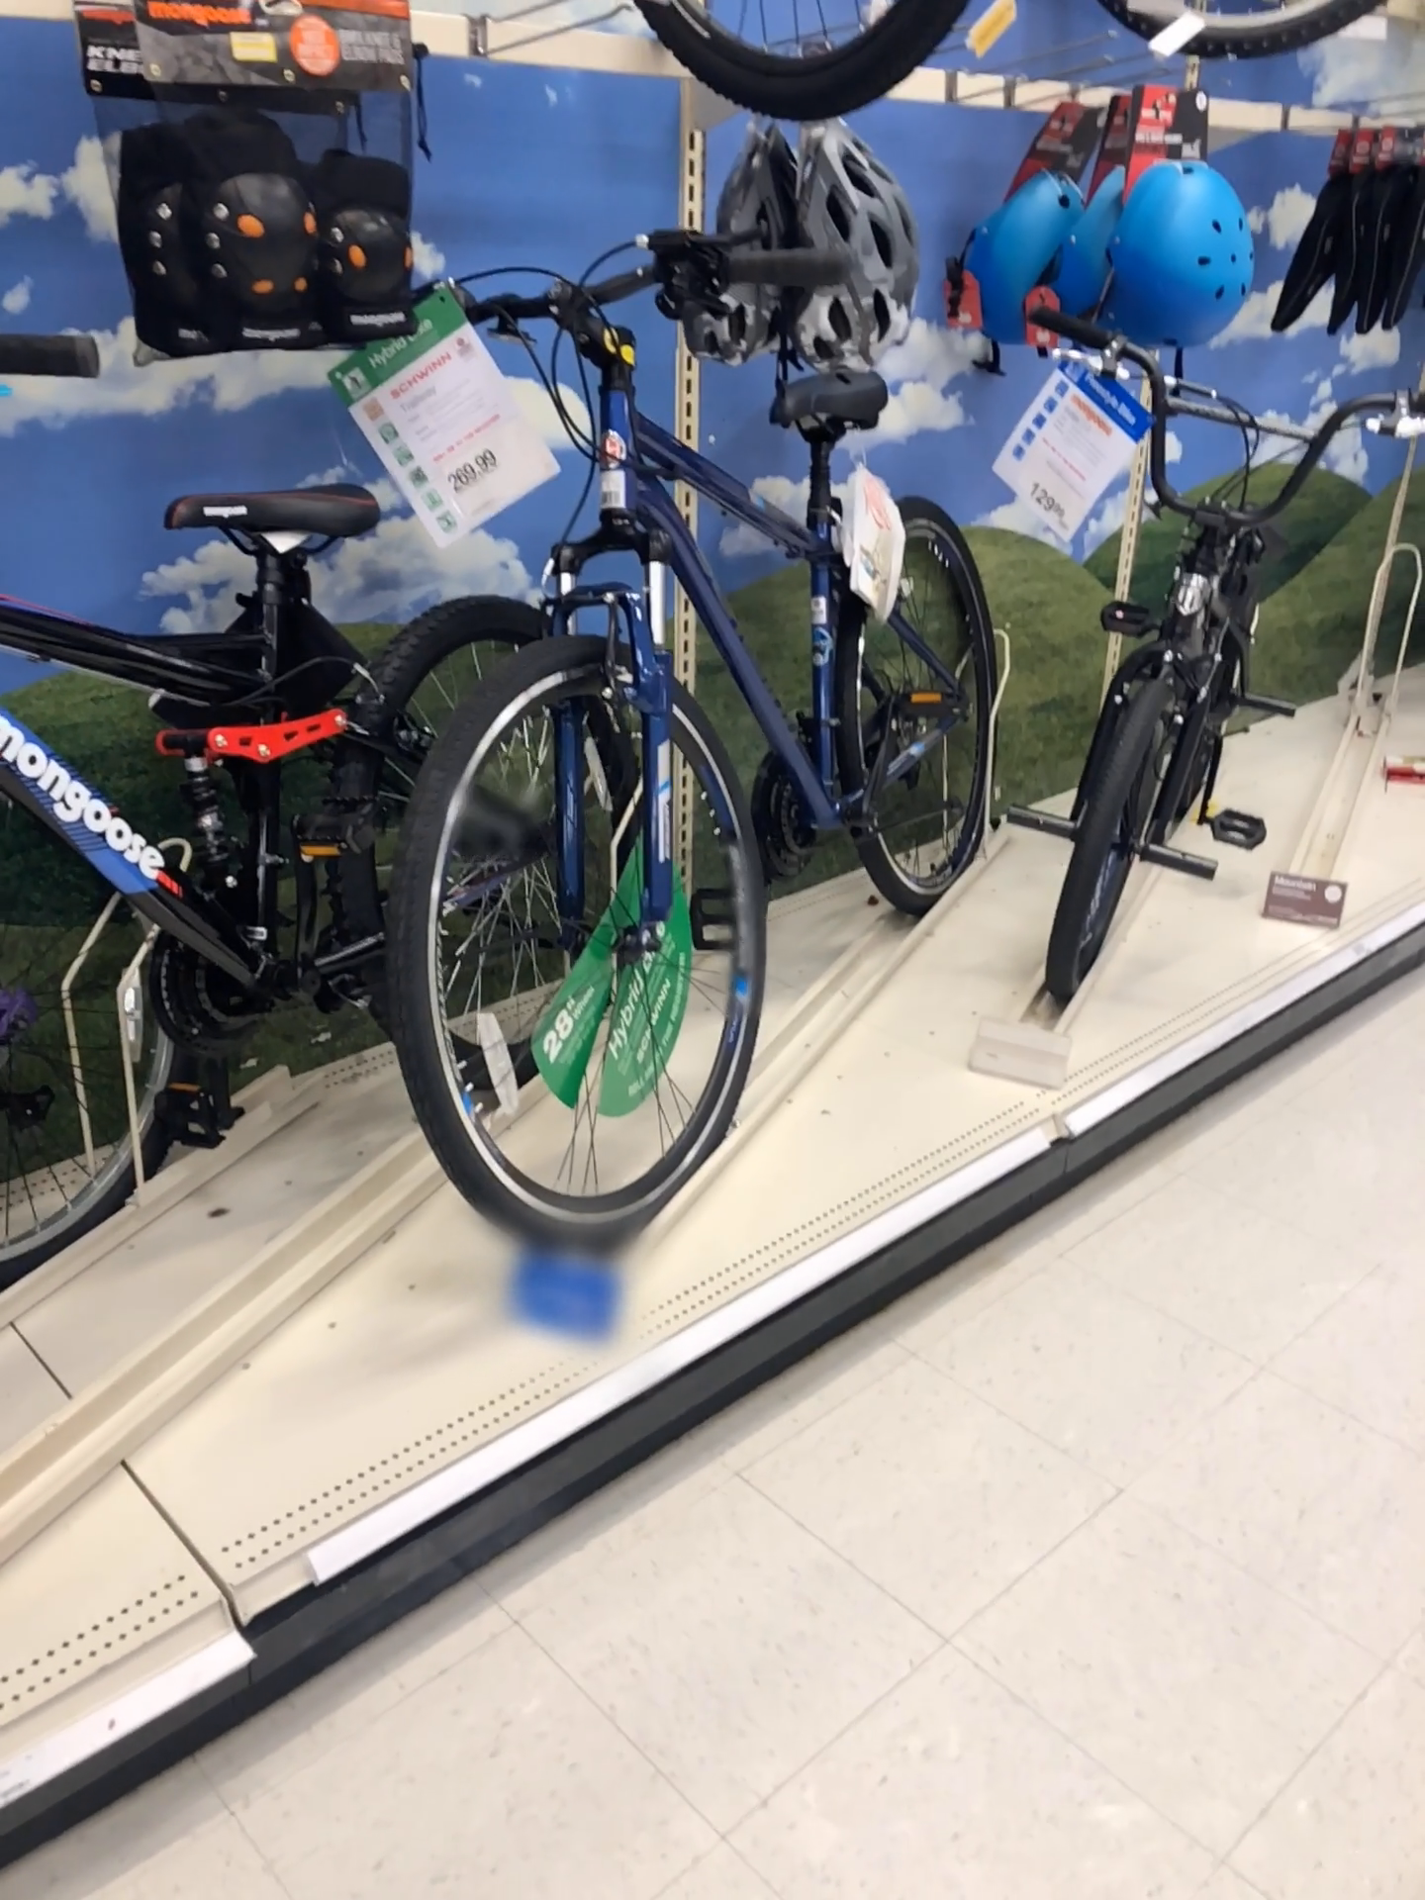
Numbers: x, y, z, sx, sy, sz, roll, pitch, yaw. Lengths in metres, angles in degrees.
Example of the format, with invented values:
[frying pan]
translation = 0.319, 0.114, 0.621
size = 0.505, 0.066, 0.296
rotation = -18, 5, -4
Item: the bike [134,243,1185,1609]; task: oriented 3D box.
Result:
[bike]
translation = 0.127, -0.289, 2.080
size = 0.530, 1.098, 1.745
rotation = 12, 29, 23
